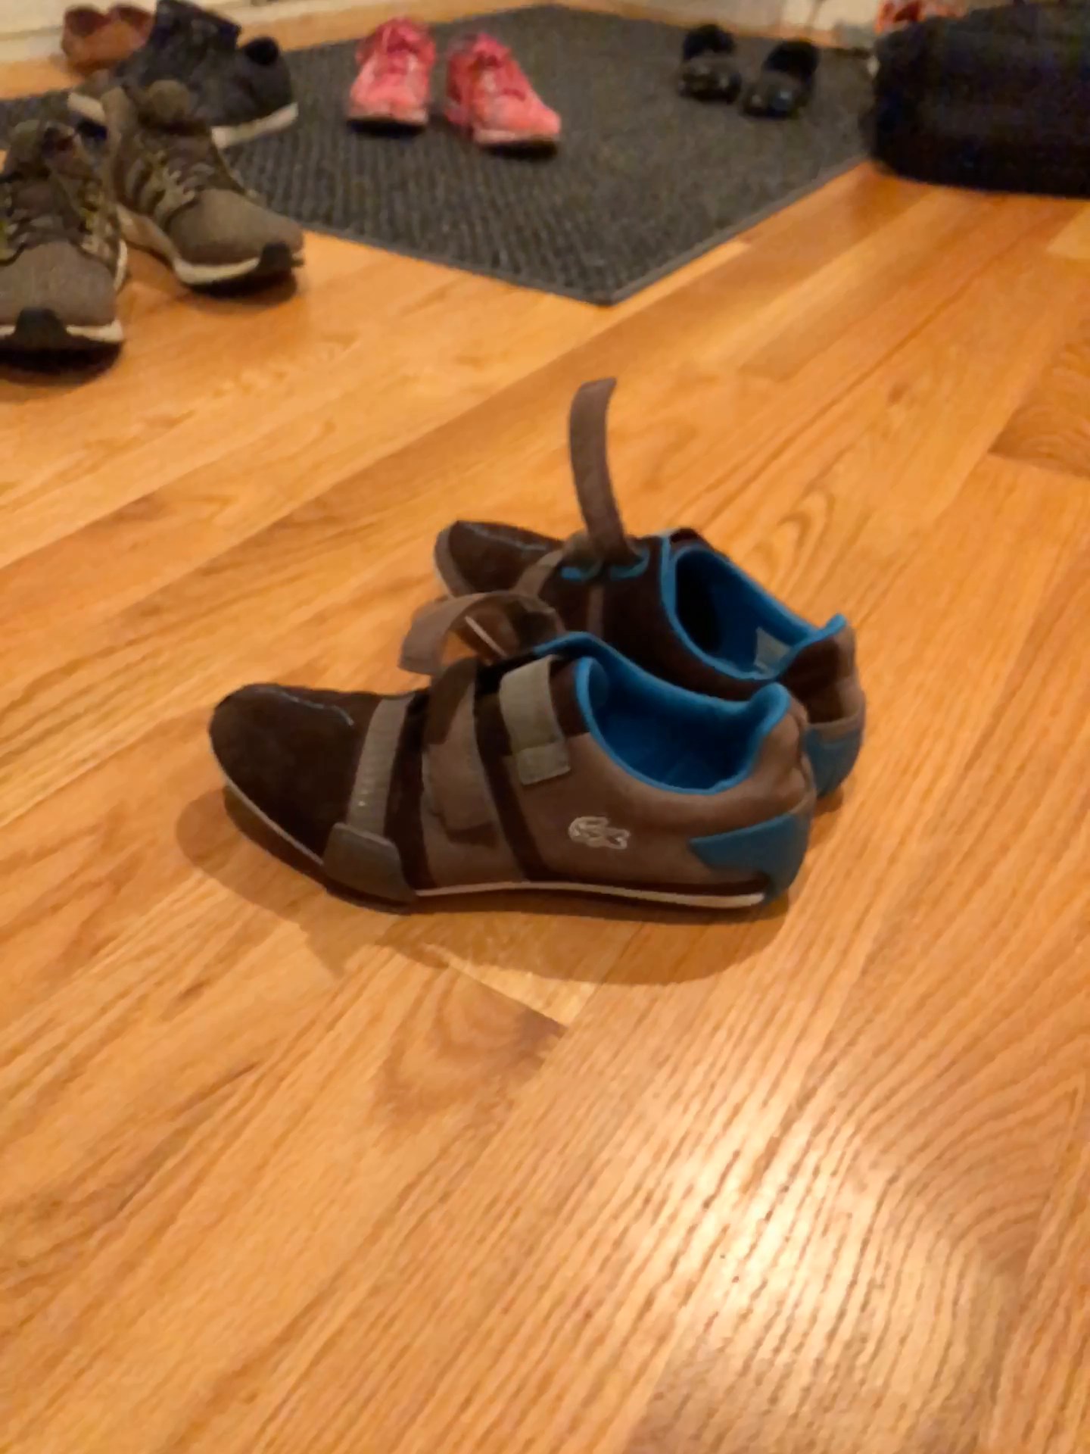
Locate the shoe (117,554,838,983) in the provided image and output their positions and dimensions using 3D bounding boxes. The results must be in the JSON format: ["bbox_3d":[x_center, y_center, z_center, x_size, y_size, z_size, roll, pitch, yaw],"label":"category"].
[{"bbox_3d":[-0.021,0.012,0.487,0.255,0.091,0.103,8,37,6],"label":"shoe"}]

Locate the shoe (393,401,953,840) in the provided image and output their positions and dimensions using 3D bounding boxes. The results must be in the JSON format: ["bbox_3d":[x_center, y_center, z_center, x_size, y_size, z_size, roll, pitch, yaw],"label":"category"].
[{"bbox_3d":[0.050,-0.065,0.599,0.256,0.091,0.102,31,45,31],"label":"shoe"}]
